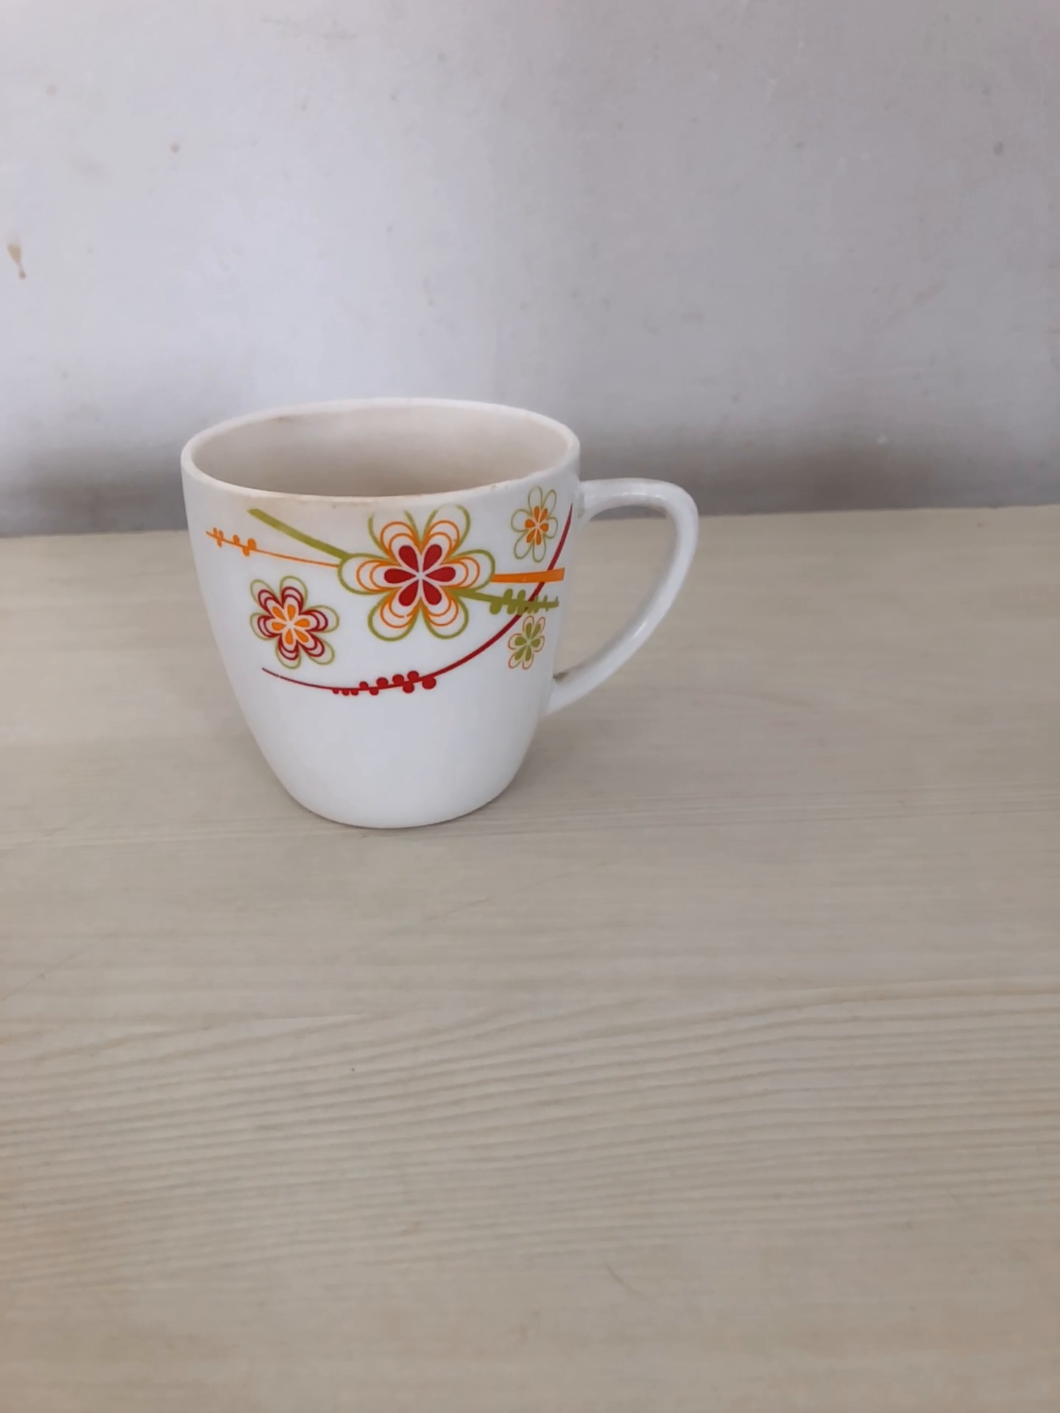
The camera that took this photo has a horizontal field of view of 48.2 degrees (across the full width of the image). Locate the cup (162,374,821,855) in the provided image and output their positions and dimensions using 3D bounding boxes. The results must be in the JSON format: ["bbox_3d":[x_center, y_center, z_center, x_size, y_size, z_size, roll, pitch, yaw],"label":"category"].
[{"bbox_3d":[-0.010,-0.024,0.242,0.110,0.070,0.070,-5,26,-10],"label":"cup"}]
